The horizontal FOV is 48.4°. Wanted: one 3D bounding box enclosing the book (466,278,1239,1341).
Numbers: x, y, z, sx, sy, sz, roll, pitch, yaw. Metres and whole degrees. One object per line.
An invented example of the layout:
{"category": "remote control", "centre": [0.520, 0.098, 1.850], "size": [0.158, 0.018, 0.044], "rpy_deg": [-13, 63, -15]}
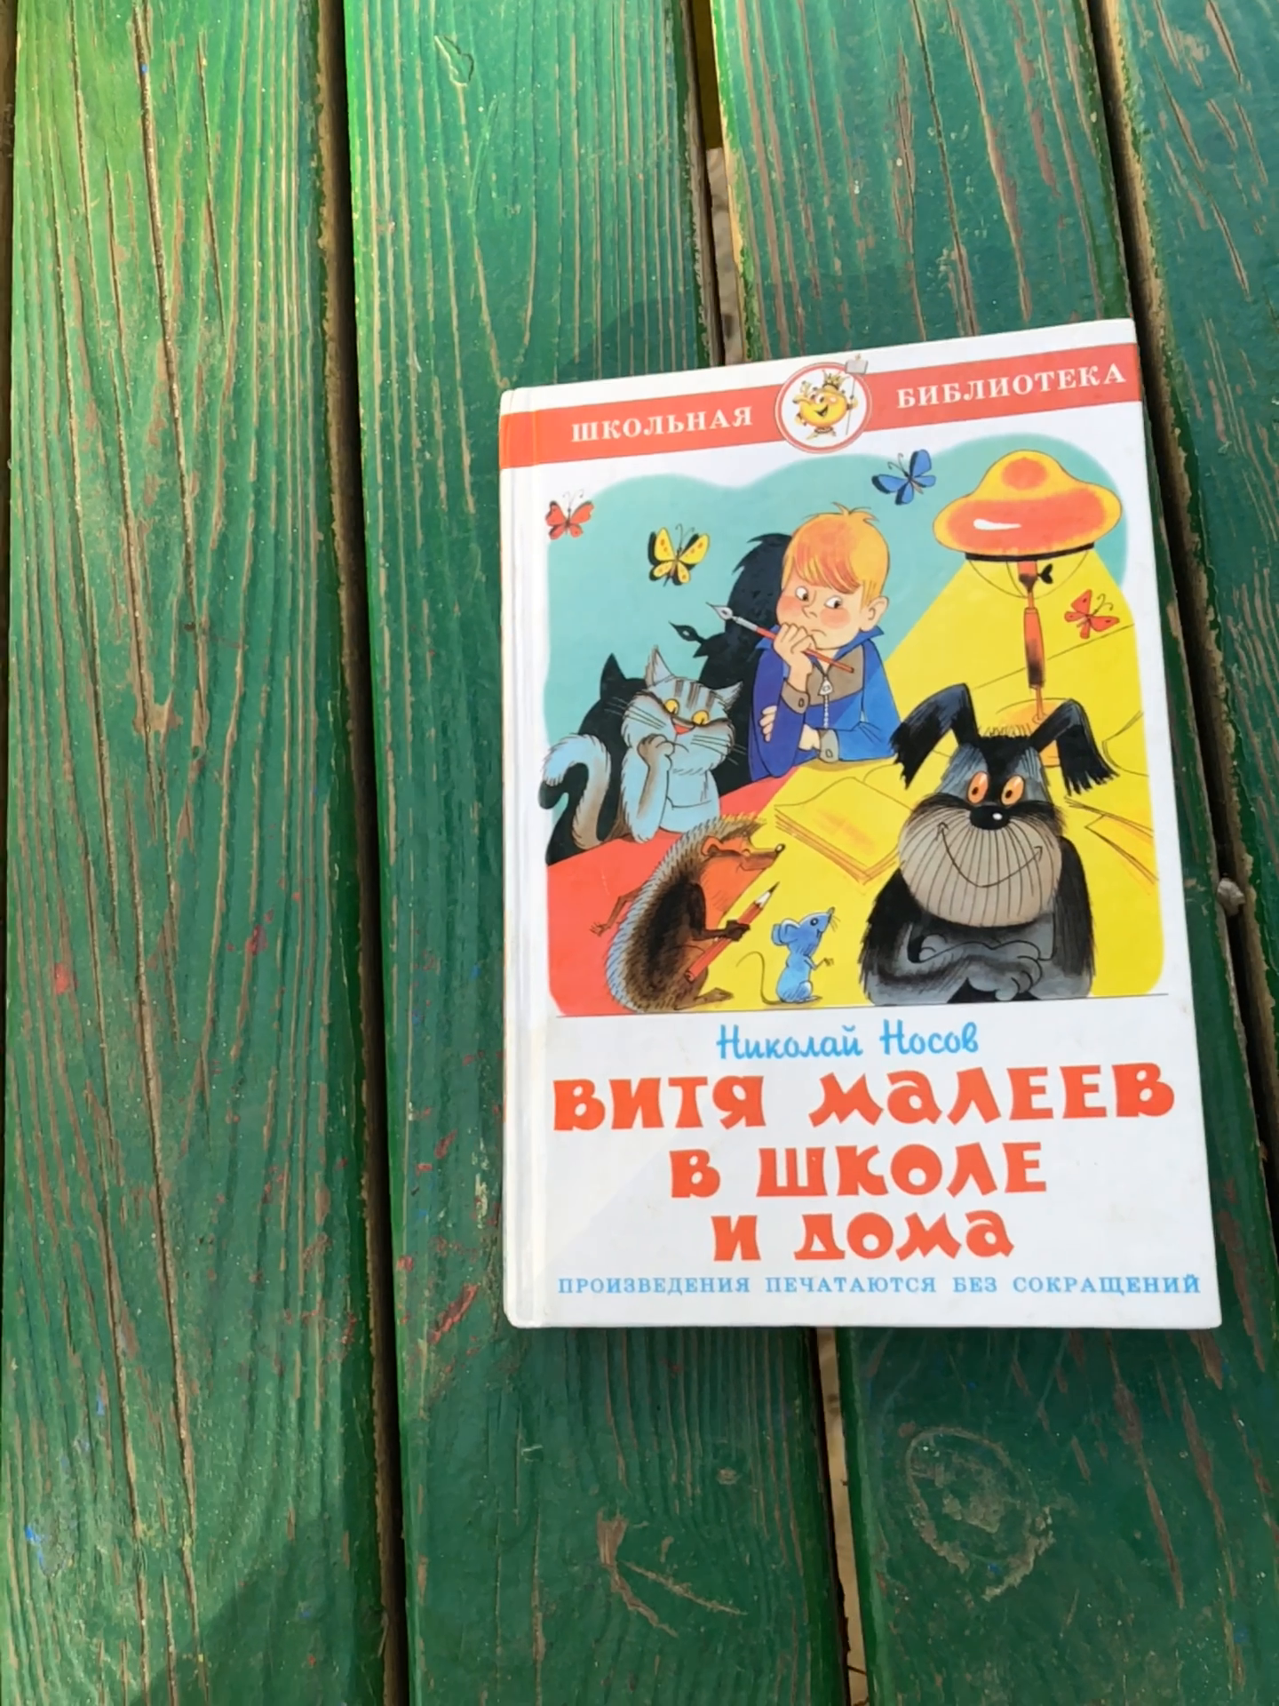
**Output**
{"category": "book", "centre": [0.037, -0.010, 0.299], "size": [0.145, 0.020, 0.212], "rpy_deg": [-3, 79, 10]}
